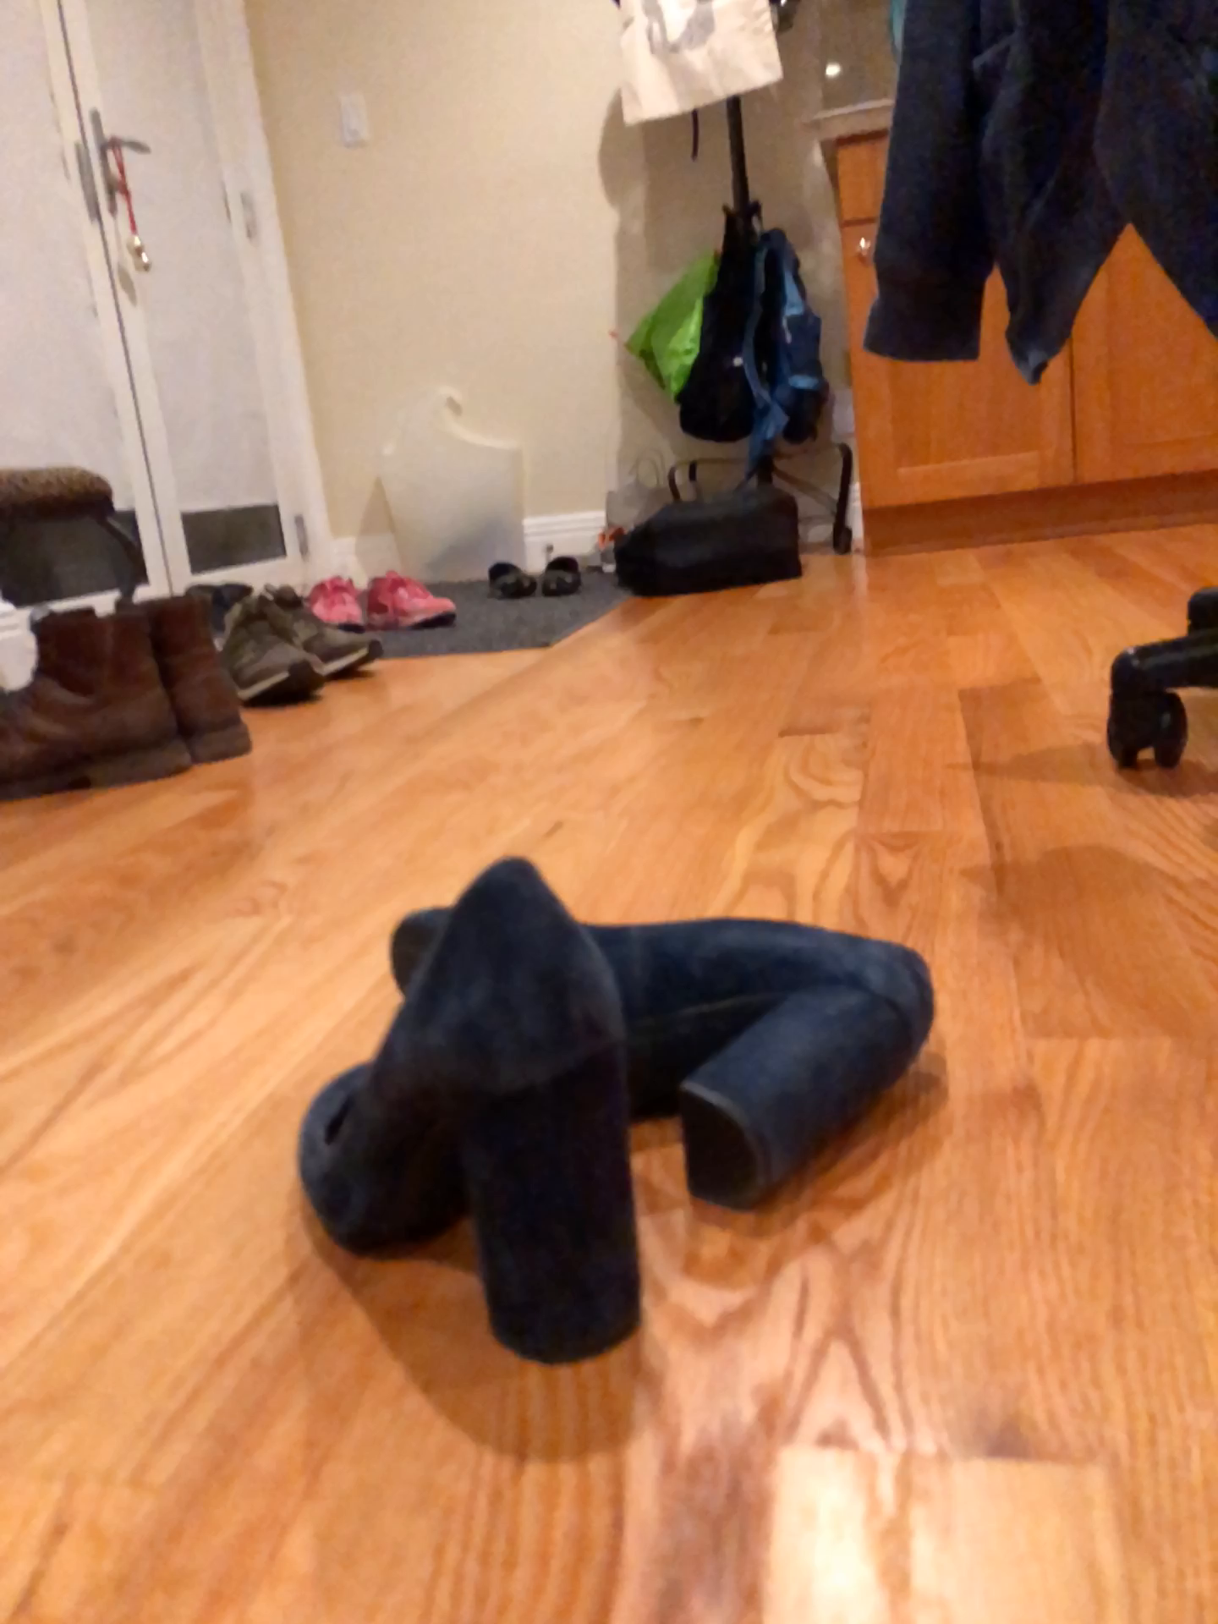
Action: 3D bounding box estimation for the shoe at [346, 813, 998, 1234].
[{"bbox_3d":[0.025,0.067,0.533,0.204,0.080,0.153,6,19,40],"label":"shoe"}]

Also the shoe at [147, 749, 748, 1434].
[{"bbox_3d":[-0.066,0.070,0.447,0.080,0.146,0.226,-16,17,-34],"label":"shoe"}]
